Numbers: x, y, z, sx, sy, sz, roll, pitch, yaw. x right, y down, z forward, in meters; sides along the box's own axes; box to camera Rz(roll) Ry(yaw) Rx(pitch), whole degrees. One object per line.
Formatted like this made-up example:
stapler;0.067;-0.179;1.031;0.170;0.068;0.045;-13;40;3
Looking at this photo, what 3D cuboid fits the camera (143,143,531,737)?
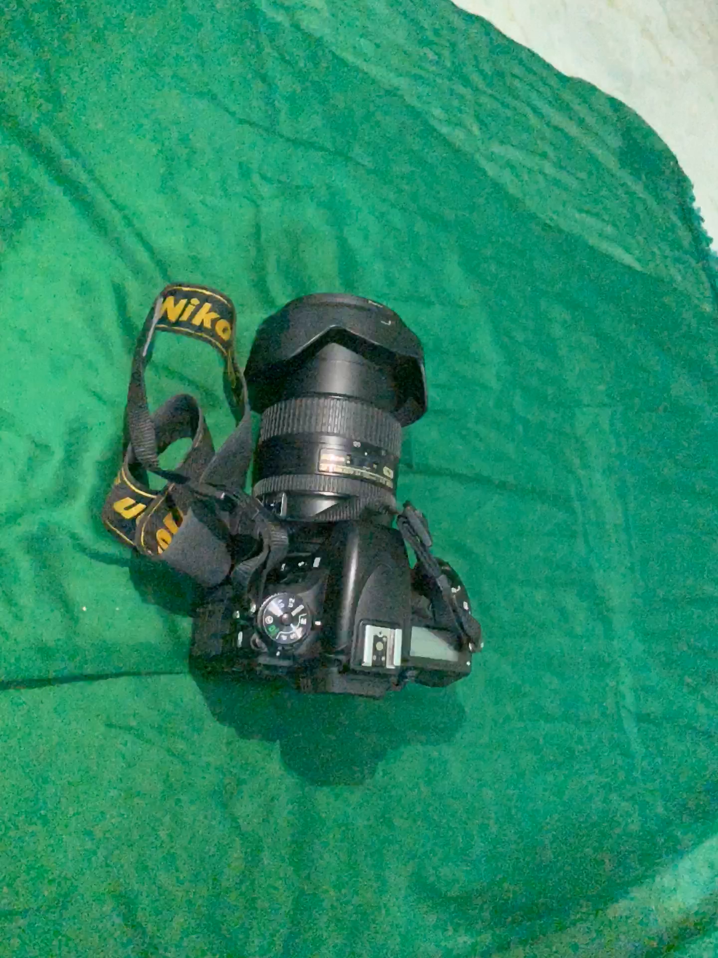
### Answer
camera;-0.001;-0.011;0.426;0.171;0.100;0.290;16;66;-29
